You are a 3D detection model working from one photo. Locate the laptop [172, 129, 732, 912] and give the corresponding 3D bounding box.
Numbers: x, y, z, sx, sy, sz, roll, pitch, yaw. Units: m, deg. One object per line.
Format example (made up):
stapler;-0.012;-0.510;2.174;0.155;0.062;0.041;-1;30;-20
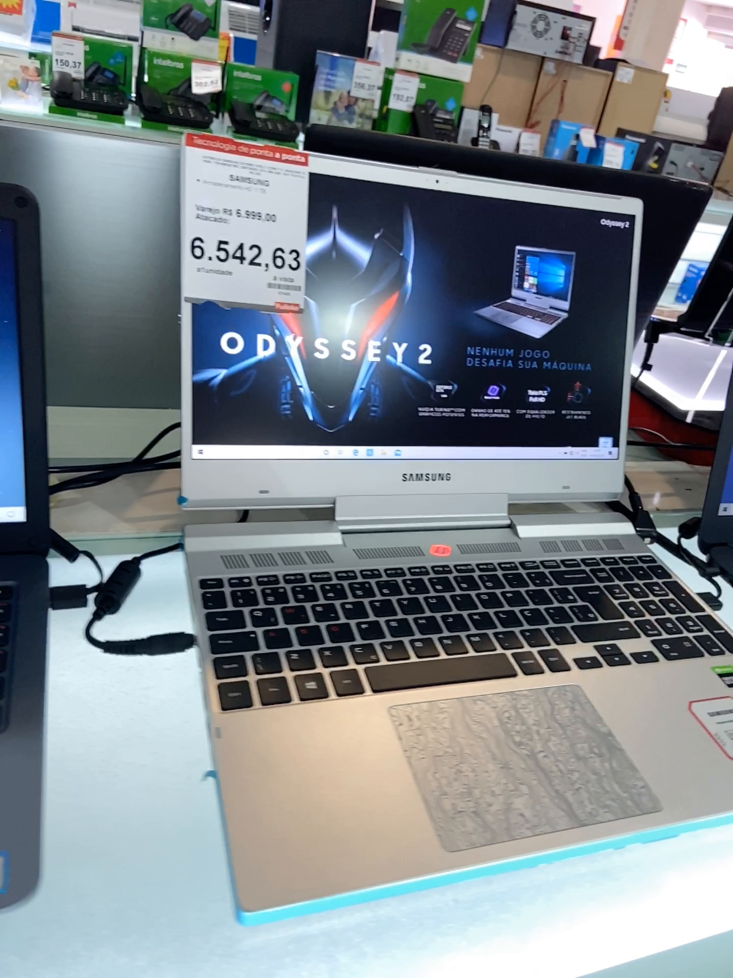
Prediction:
laptop;0.085;-0.034;0.442;0.353;0.225;0.370;0;32;-20
